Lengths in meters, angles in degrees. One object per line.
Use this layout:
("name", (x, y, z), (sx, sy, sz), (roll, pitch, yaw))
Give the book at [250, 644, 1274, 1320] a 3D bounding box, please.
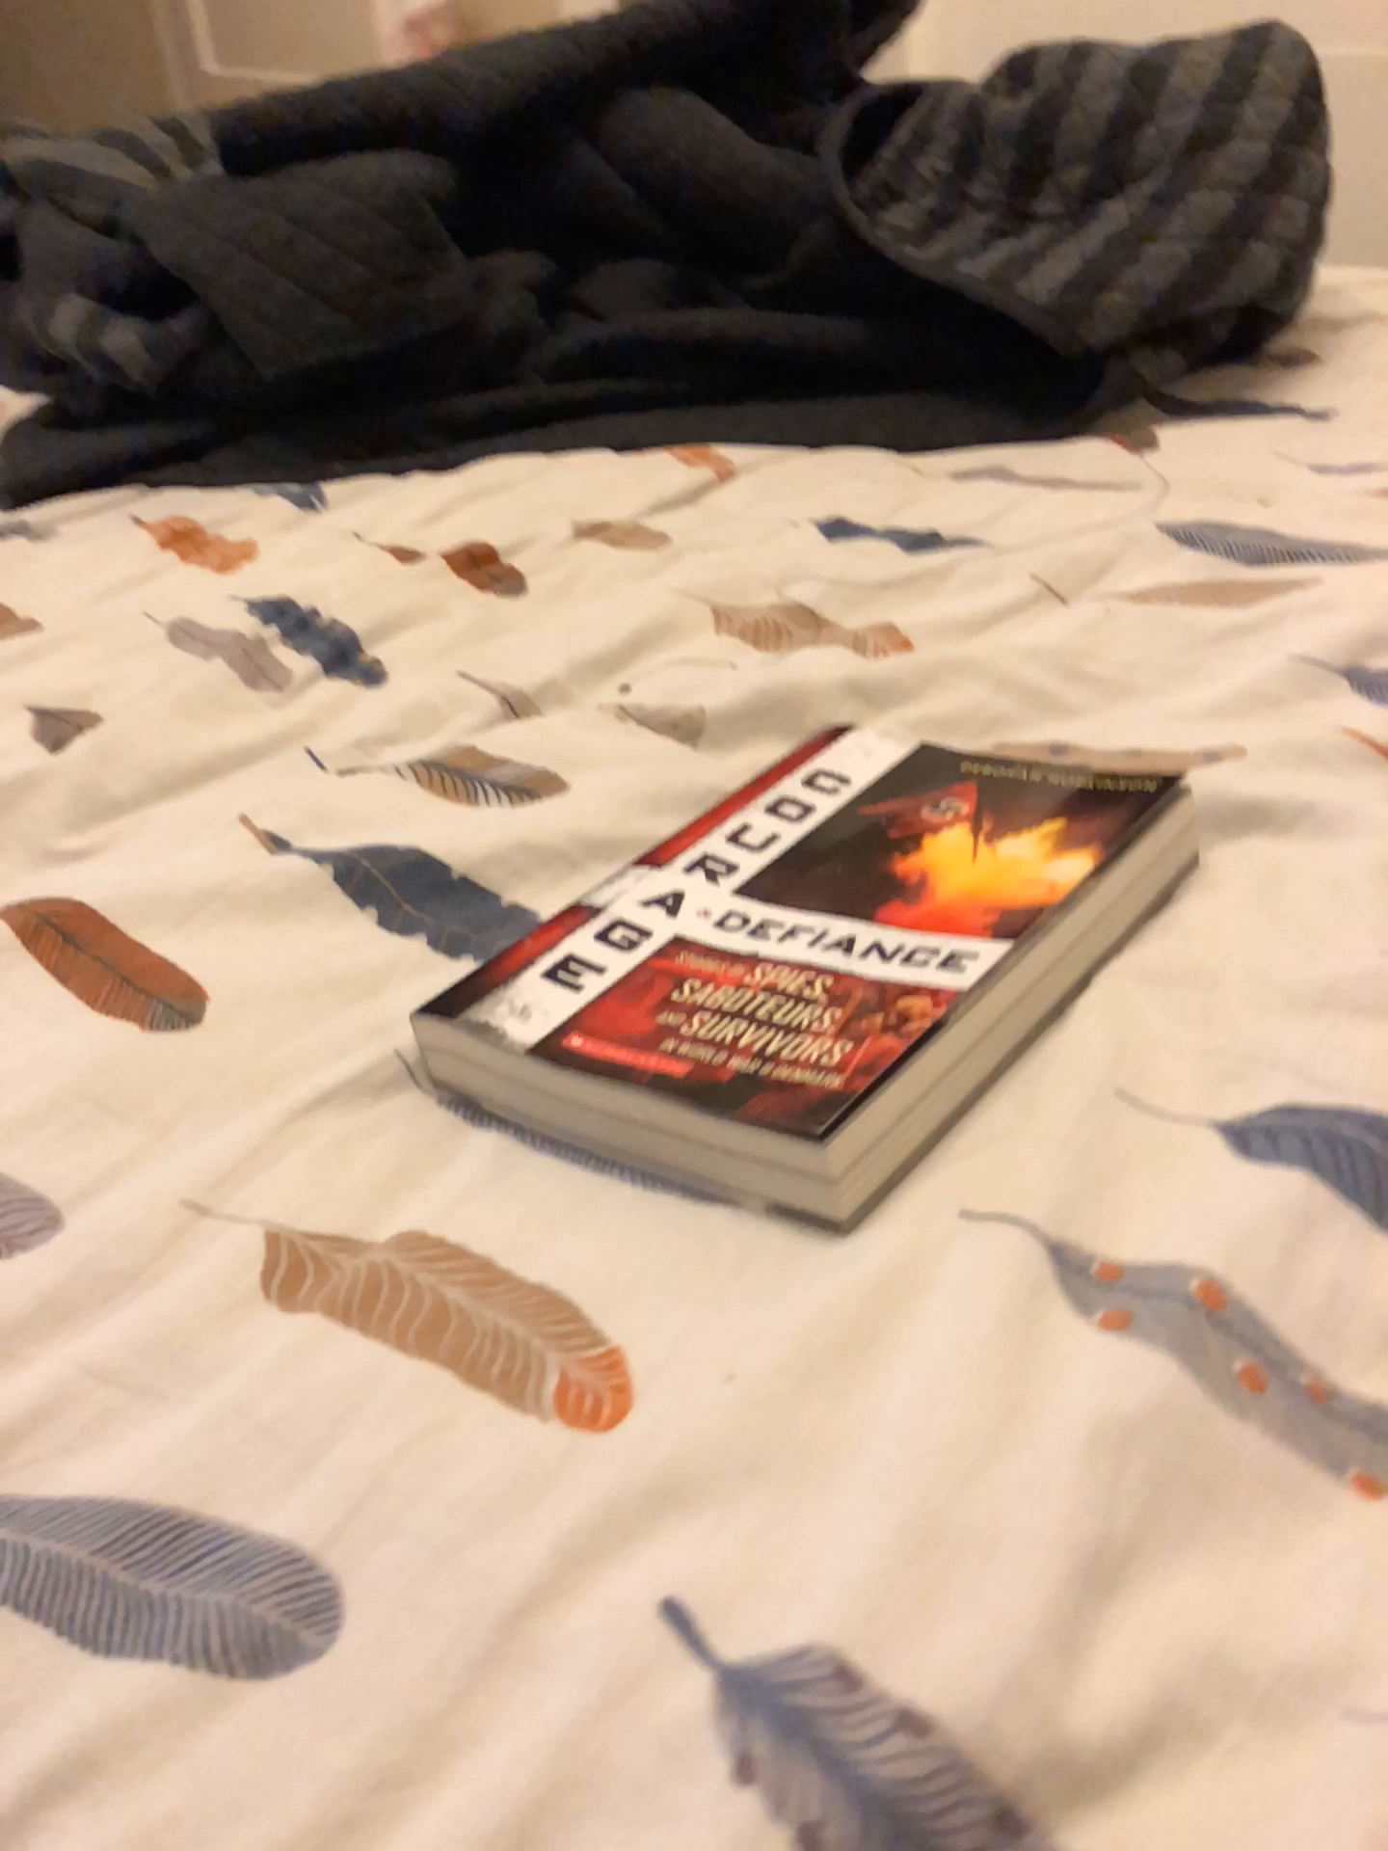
("book", (0.029, -0.010, 0.442), (0.200, 0.020, 0.231), (18, 41, 30))
